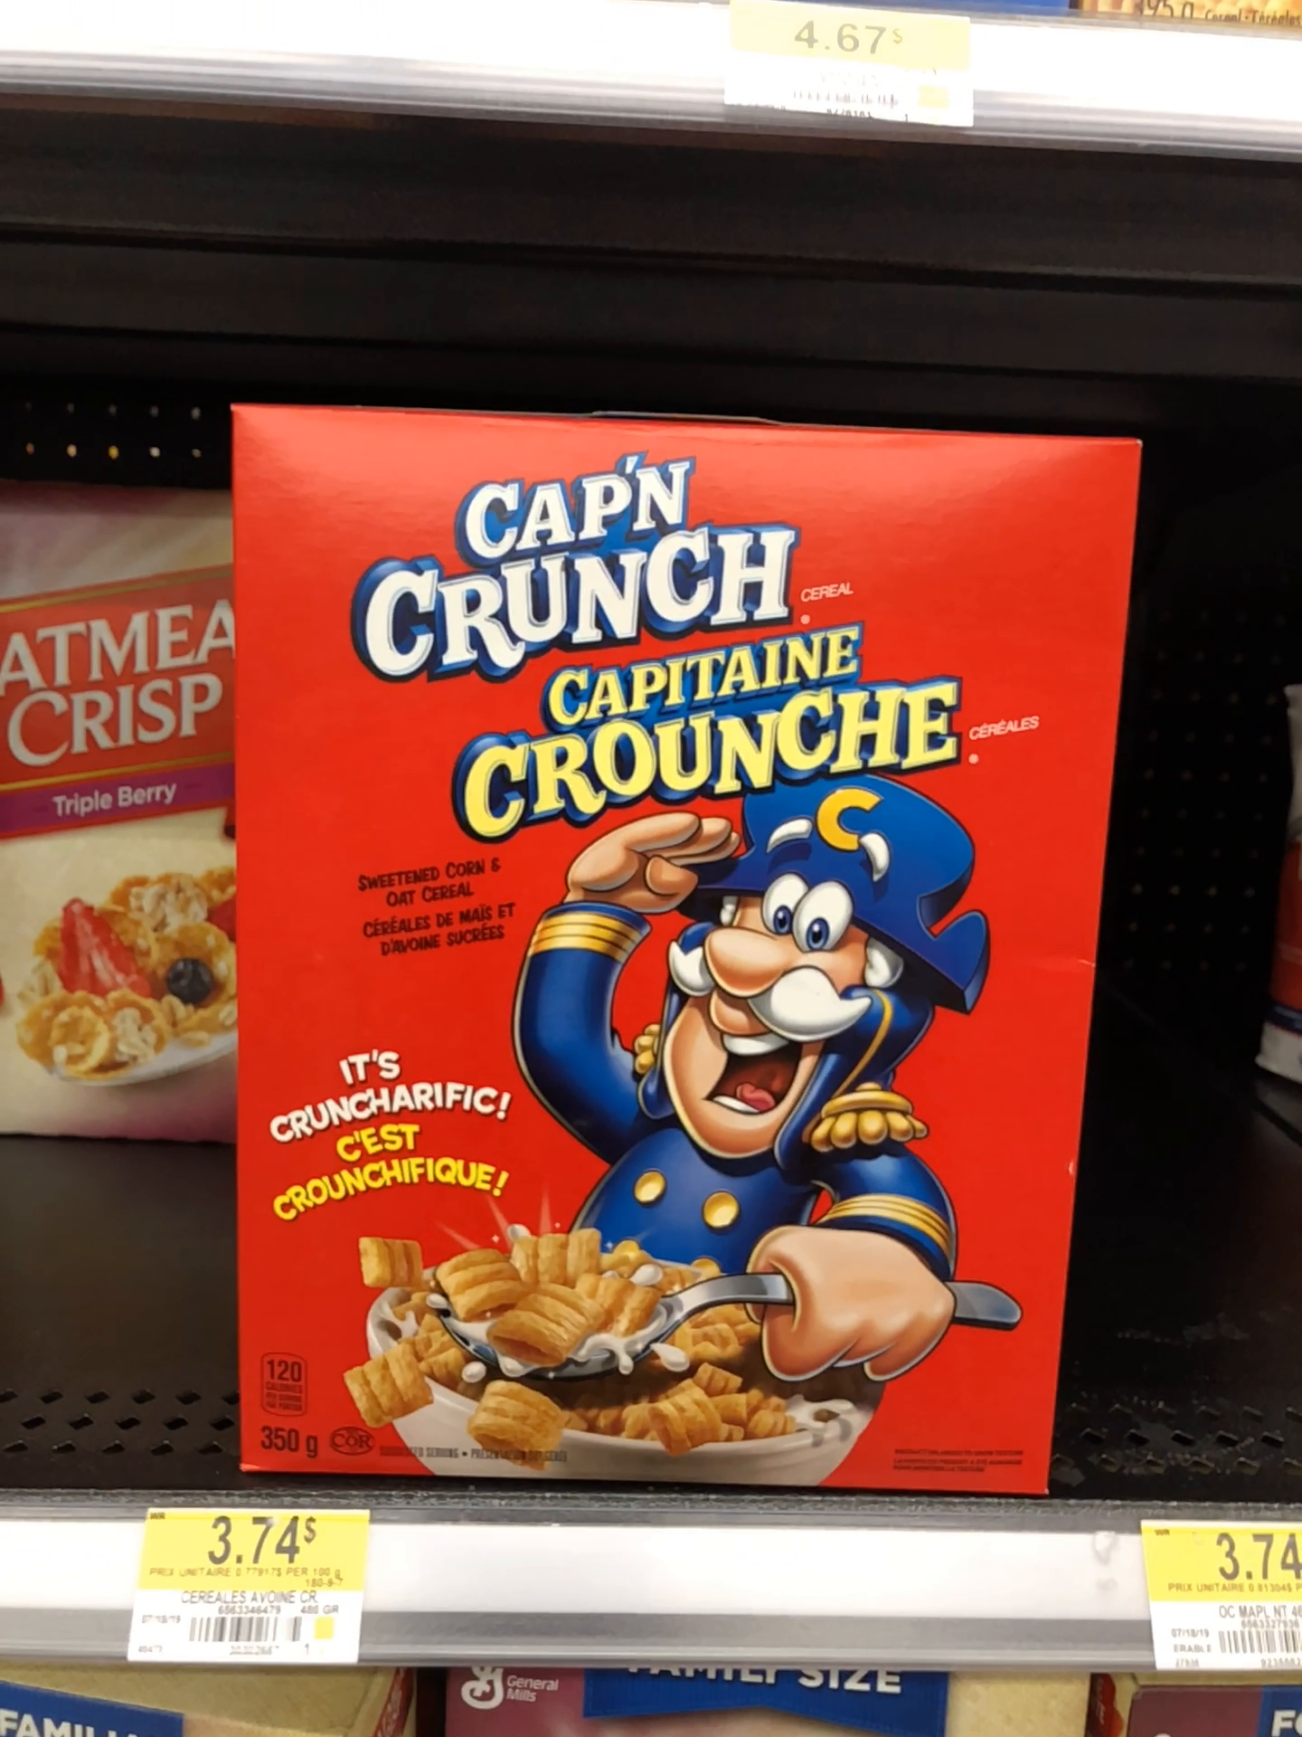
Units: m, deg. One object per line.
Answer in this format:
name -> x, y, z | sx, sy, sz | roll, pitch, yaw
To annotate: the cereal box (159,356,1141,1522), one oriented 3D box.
cereal box -> -0.006, 0.021, 0.378 | 0.220, 0.279, 0.060 | 2, 10, -1
